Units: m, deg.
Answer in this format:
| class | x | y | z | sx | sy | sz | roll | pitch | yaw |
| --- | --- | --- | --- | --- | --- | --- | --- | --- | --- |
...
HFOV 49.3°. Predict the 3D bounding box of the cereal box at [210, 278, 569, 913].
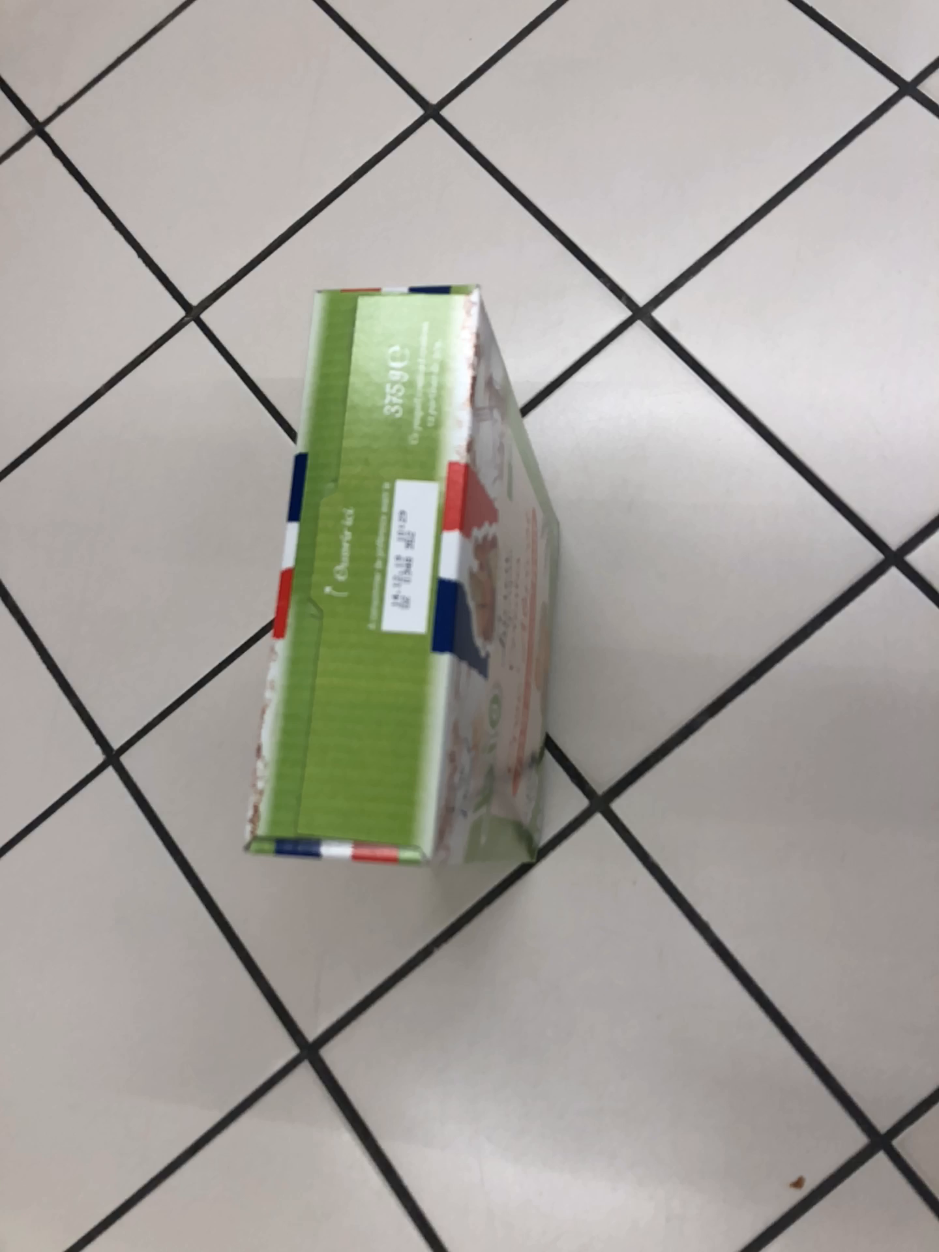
| class | x | y | z | sx | sy | sz | roll | pitch | yaw |
| --- | --- | --- | --- | --- | --- | --- | --- | --- | --- |
| cereal box | -0.011 | 0.010 | 0.433 | 0.070 | 0.240 | 0.200 | 2 | 77 | 12 |
